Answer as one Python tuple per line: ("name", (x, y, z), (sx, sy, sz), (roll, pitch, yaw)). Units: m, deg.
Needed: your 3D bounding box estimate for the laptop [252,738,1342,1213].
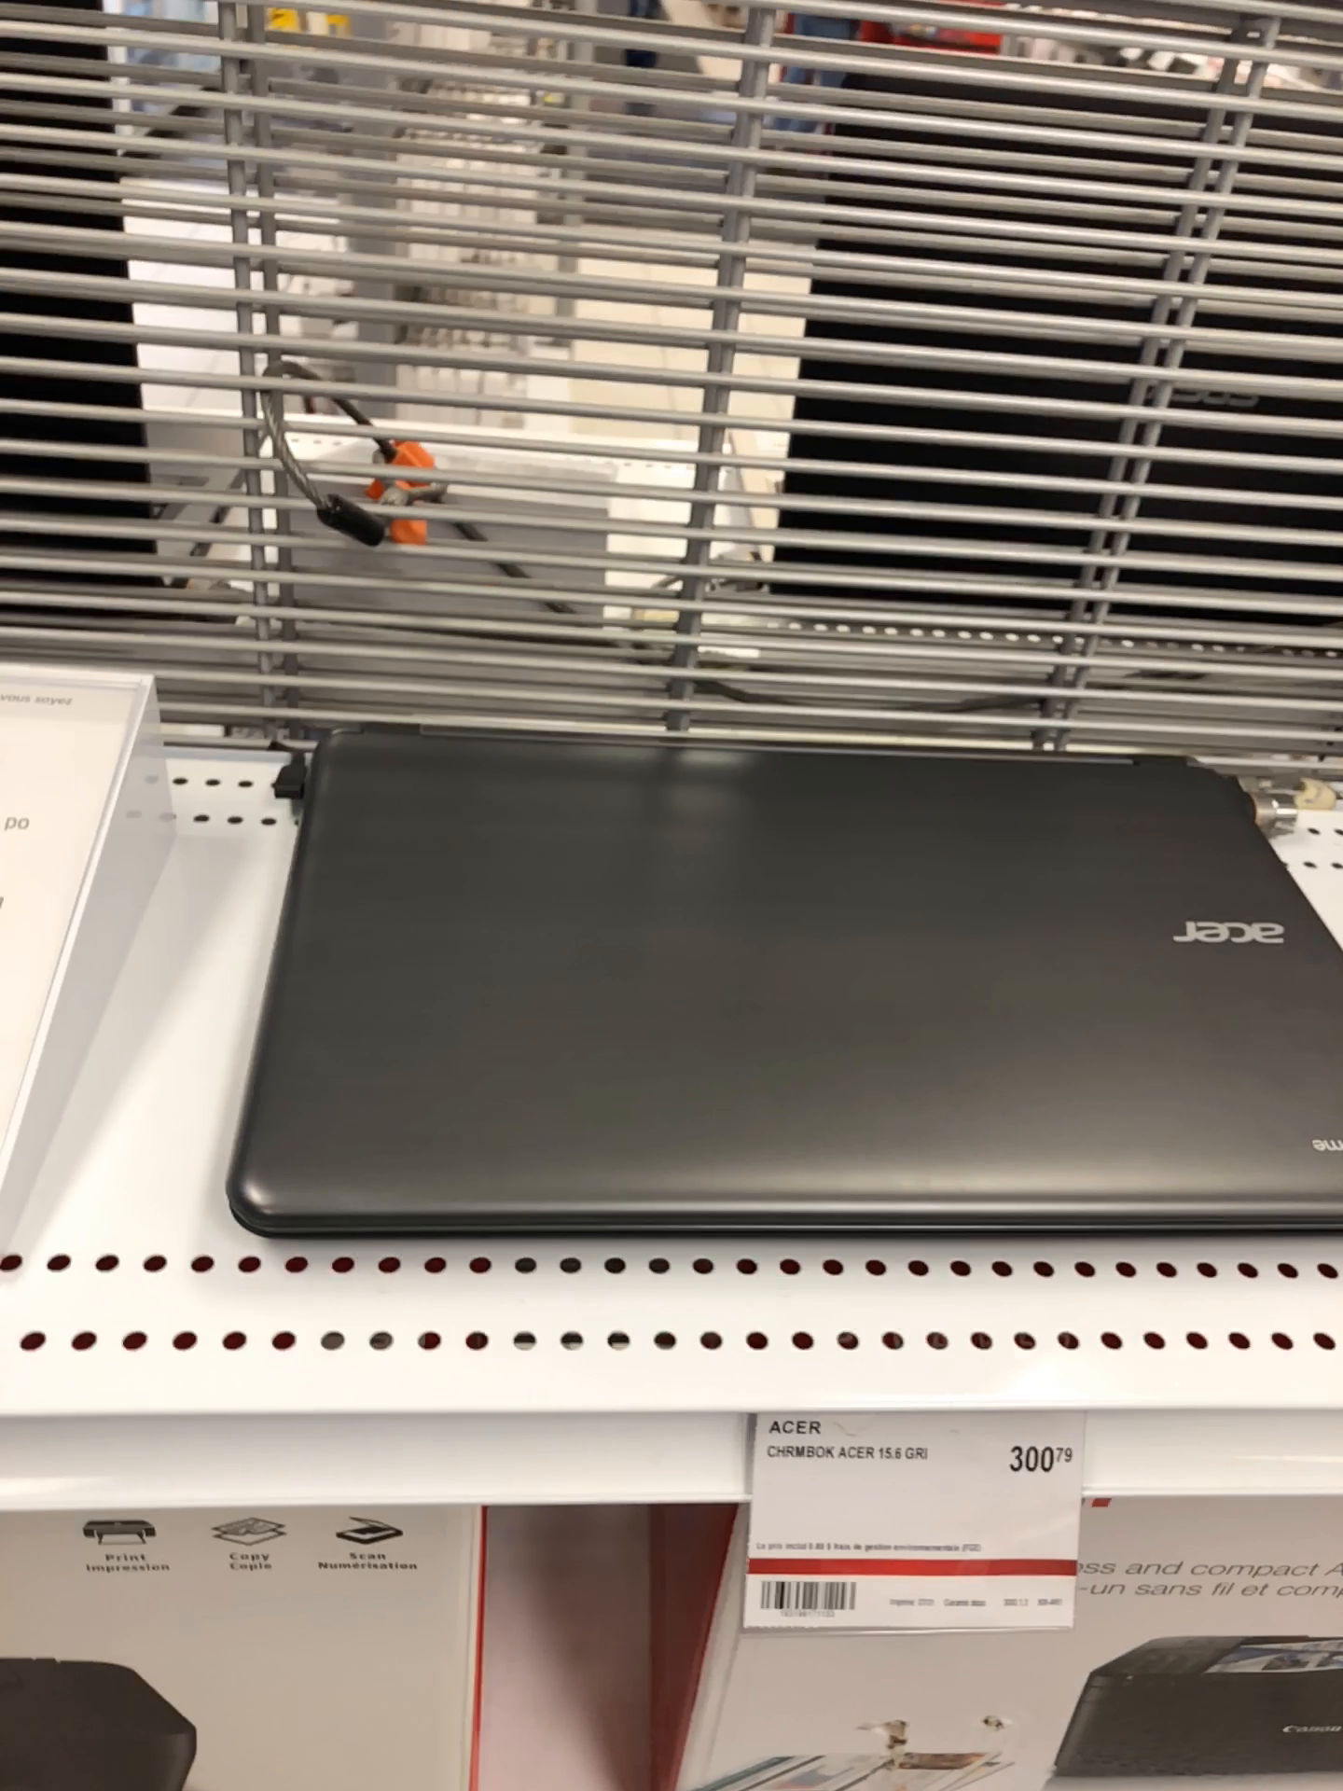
("laptop", (0.055, 0.015, 0.518), (0.367, 0.001, 0.238), (2, 37, -5))
